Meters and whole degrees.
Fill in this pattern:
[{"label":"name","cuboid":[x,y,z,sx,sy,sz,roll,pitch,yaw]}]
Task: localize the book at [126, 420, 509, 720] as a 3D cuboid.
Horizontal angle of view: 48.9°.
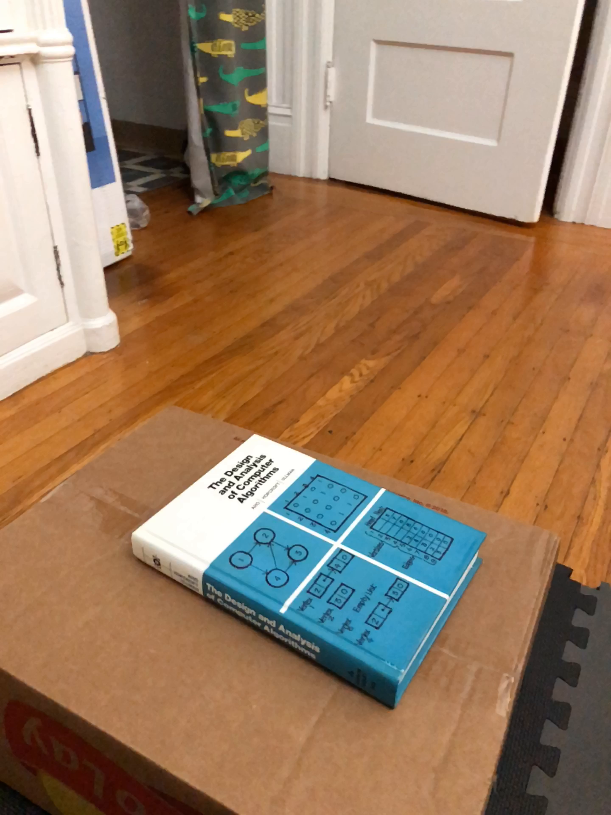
[{"label":"book","cuboid":[0.012,0.113,0.574,0.260,0.040,0.191,20,37,27]}]
